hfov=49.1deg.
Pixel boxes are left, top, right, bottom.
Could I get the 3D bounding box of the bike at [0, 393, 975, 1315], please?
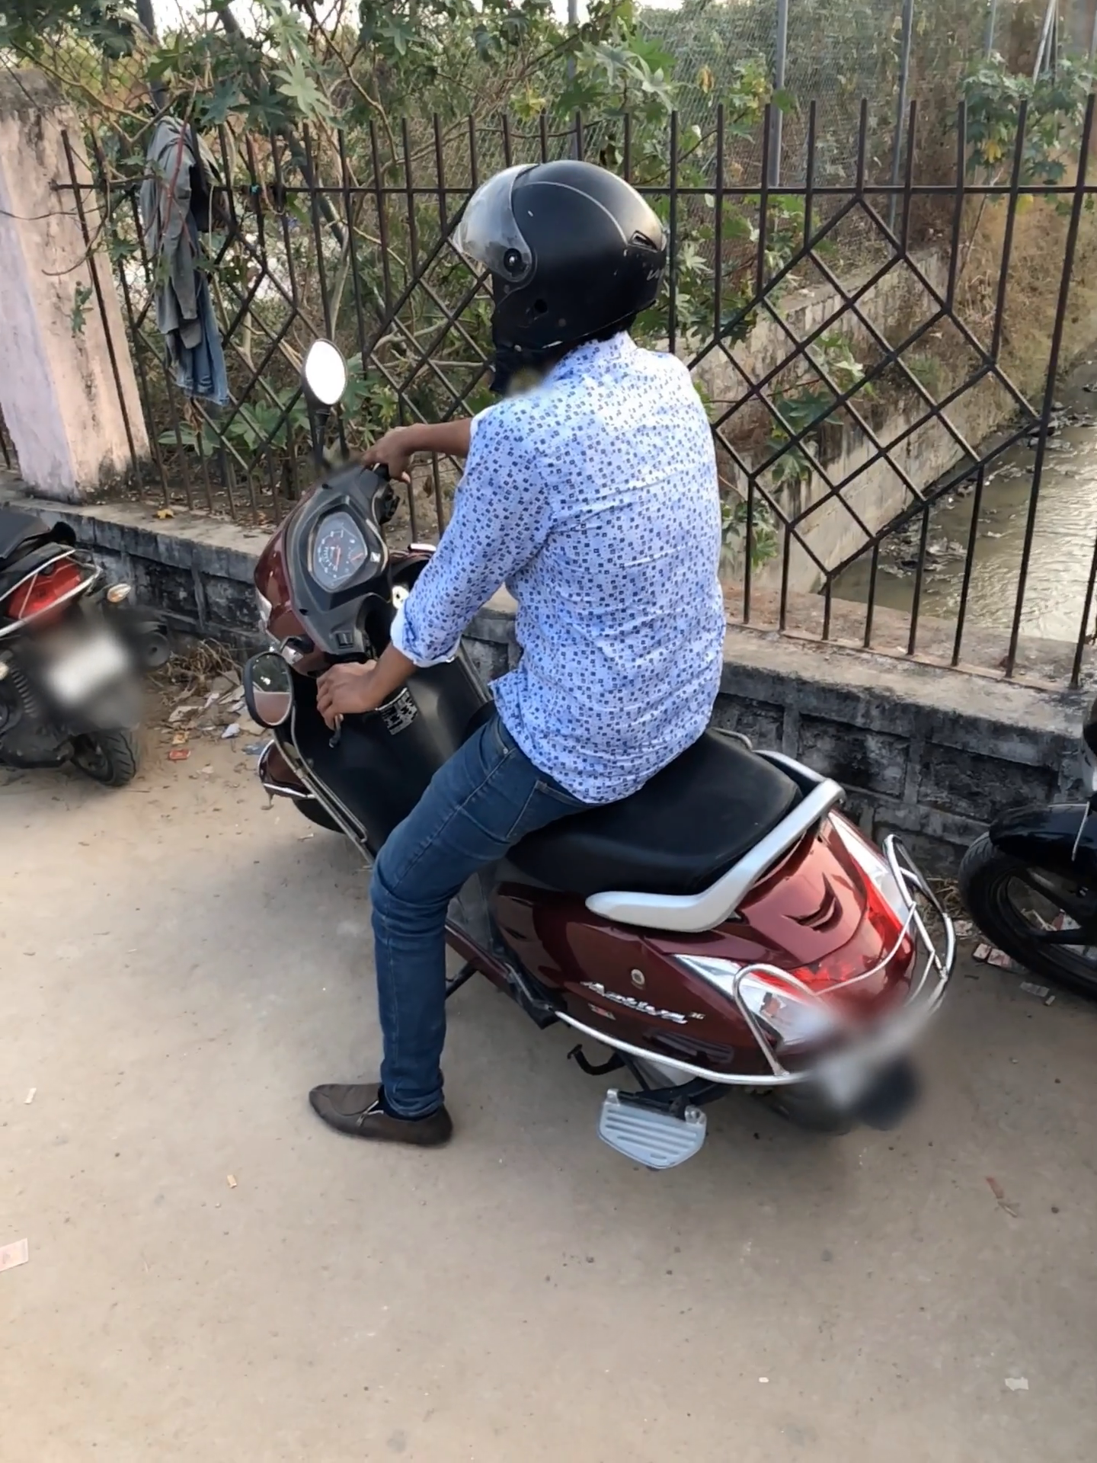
[{"bbox_3d":[-0.201,0.072,2.059,1.490,0.963,0.578,21,36,35],"label":"bike"}]
